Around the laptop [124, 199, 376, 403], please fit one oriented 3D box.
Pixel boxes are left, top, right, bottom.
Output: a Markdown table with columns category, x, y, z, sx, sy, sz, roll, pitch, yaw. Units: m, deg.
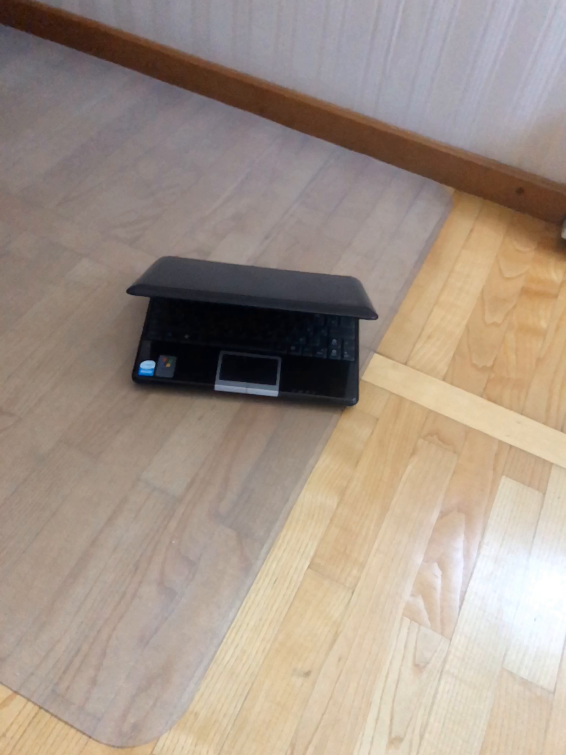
| category | x | y | z | sx | sy | sz | roll | pitch | yaw |
| --- | --- | --- | --- | --- | --- | --- | --- | --- | --- |
| laptop | -0.032 | -0.090 | 0.741 | 0.263 | 0.102 | 0.183 | 6 | 57 | -3 |
